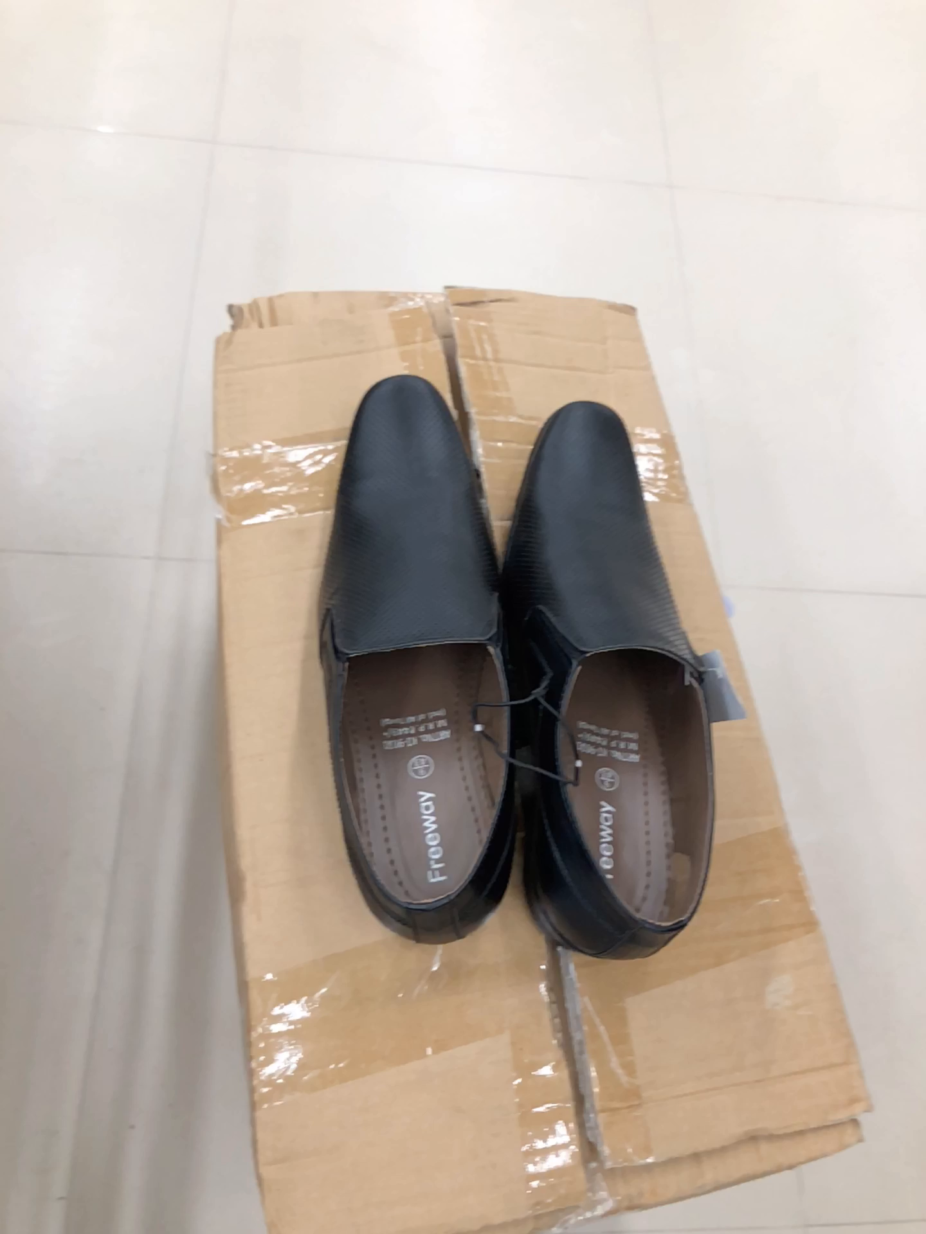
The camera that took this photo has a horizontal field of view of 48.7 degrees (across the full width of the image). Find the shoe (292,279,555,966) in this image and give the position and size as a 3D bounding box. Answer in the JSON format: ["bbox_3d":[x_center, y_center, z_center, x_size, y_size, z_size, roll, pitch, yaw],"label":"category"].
[{"bbox_3d":[-0.025,-0.006,0.502,0.100,0.100,0.321,-3,65,-2],"label":"shoe"}]

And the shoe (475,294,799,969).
[{"bbox_3d":[0.071,0.002,0.514,0.100,0.100,0.321,3,64,-11],"label":"shoe"}]
